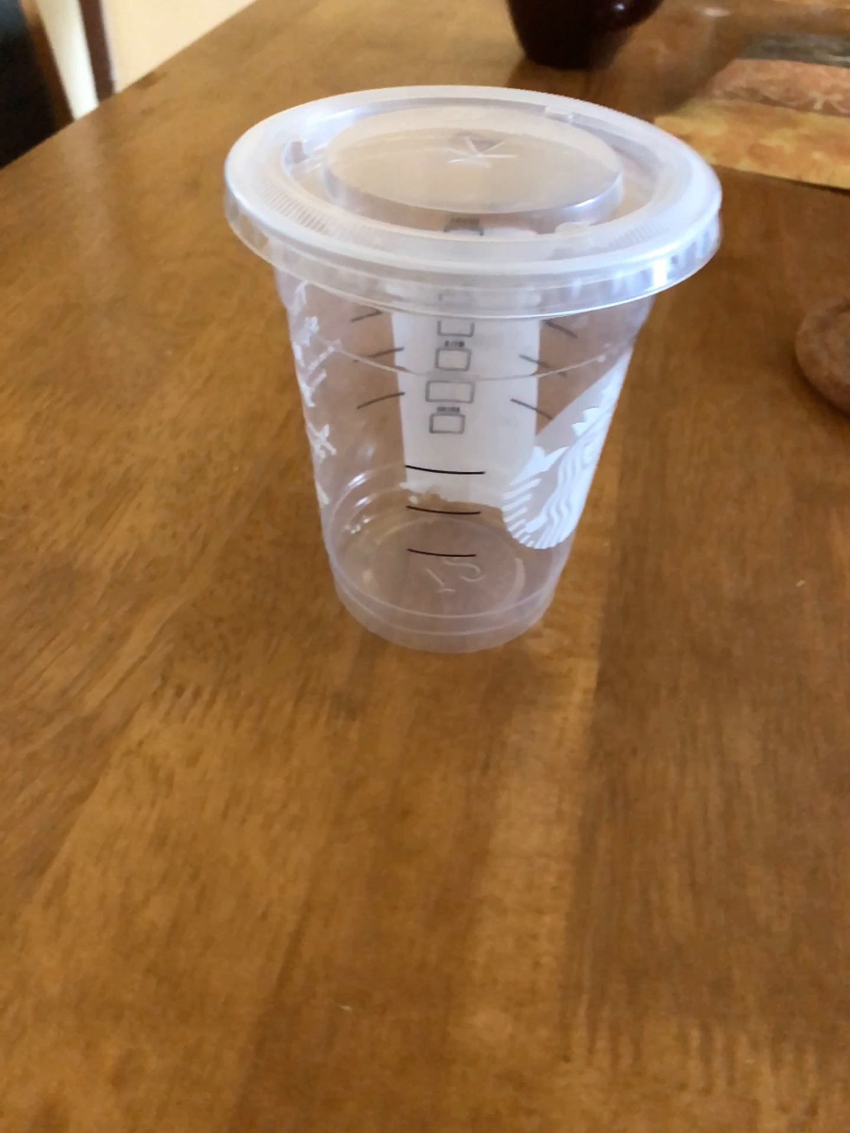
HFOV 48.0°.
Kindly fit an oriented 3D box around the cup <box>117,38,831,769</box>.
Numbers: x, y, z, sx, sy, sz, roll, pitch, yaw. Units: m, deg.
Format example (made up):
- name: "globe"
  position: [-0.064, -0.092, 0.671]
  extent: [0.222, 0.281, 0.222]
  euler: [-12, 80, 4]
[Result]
- name: "cup"
  position: [0.012, -0.042, 0.208]
  extent: [0.090, 0.100, 0.100]
  euler: [27, 48, 25]
